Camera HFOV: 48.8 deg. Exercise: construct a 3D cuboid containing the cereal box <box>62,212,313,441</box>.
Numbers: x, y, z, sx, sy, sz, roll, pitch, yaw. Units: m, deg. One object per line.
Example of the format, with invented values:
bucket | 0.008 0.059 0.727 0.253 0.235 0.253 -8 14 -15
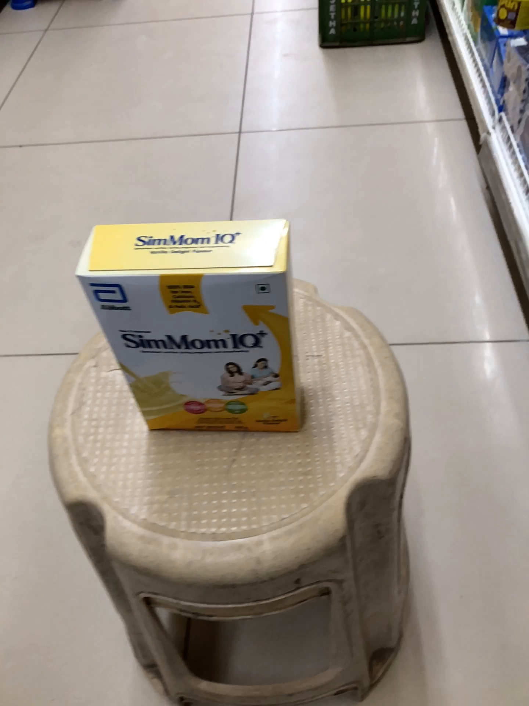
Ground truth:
cereal box | -0.040 -0.006 0.437 0.140 0.199 0.050 -1 52 8
